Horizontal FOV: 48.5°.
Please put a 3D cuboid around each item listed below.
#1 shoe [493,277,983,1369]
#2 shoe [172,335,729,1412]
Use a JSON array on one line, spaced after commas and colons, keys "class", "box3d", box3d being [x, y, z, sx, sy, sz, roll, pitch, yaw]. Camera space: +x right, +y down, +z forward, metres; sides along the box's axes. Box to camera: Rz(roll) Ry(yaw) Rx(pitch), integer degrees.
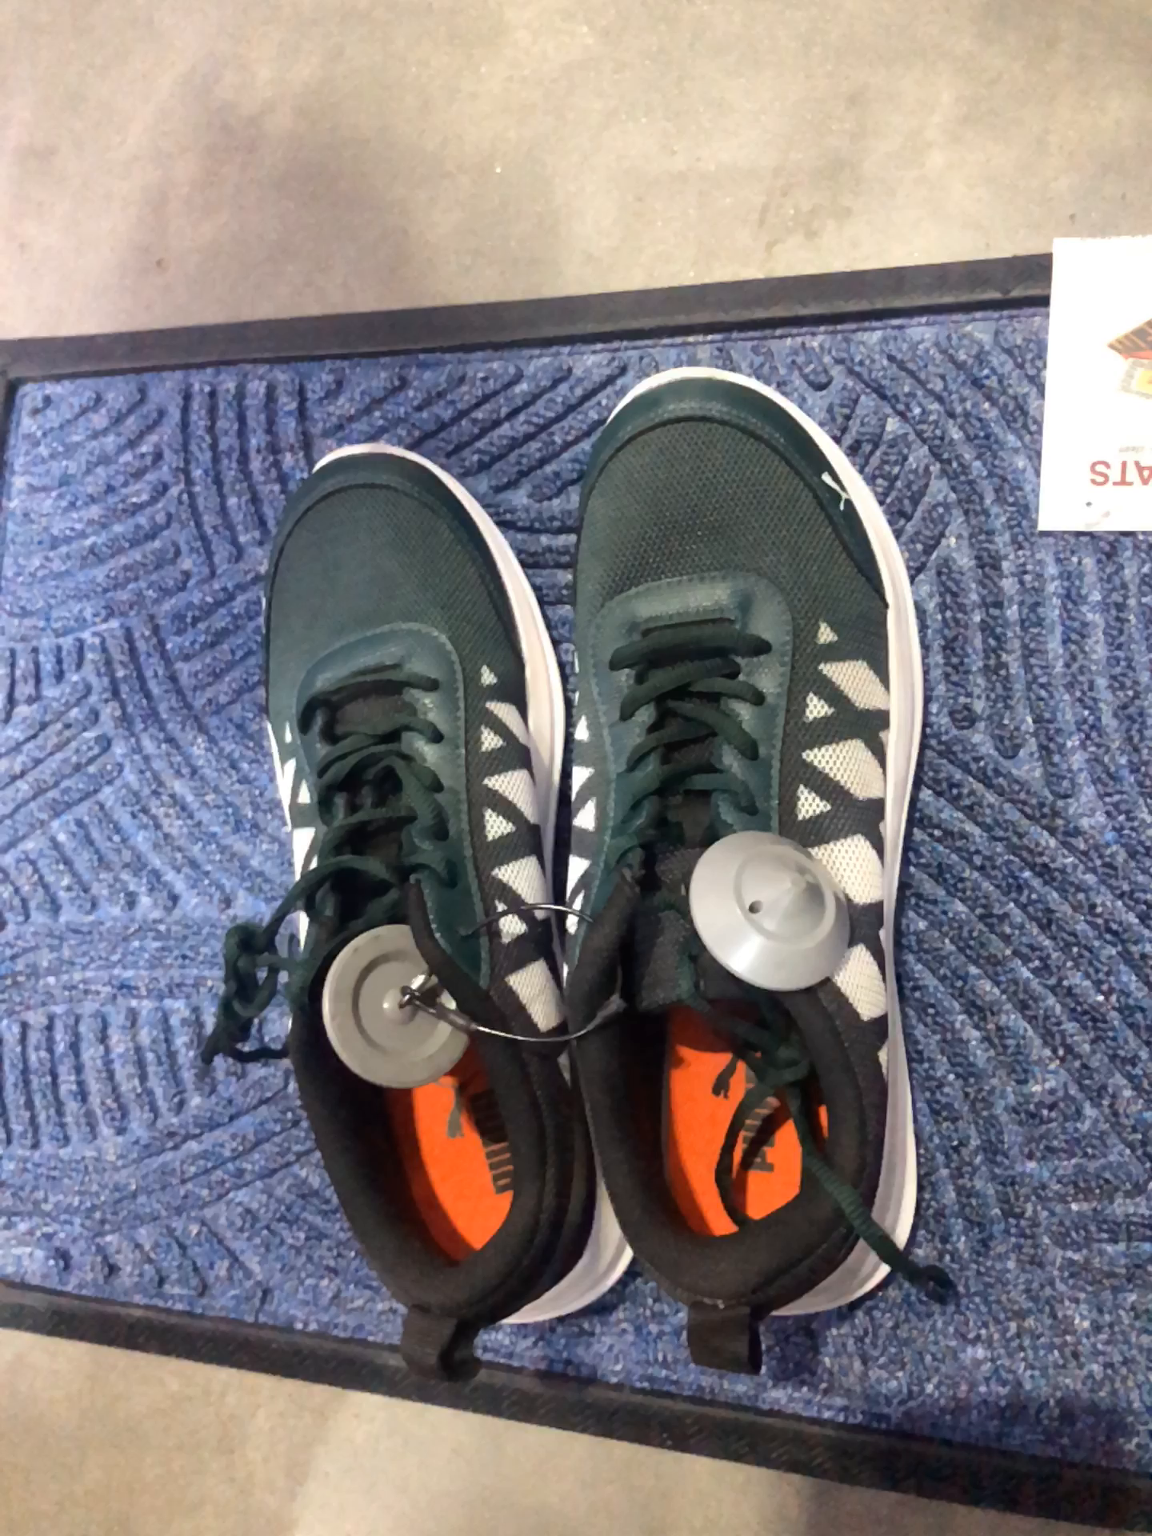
[{"class": "shoe", "box3d": [0.047, 0.015, 0.384, 0.120, 0.060, 0.290, -4, 83, 16]}, {"class": "shoe", "box3d": [-0.043, 0.031, 0.417, 0.110, 0.060, 0.310, -14, 81, 15]}]
